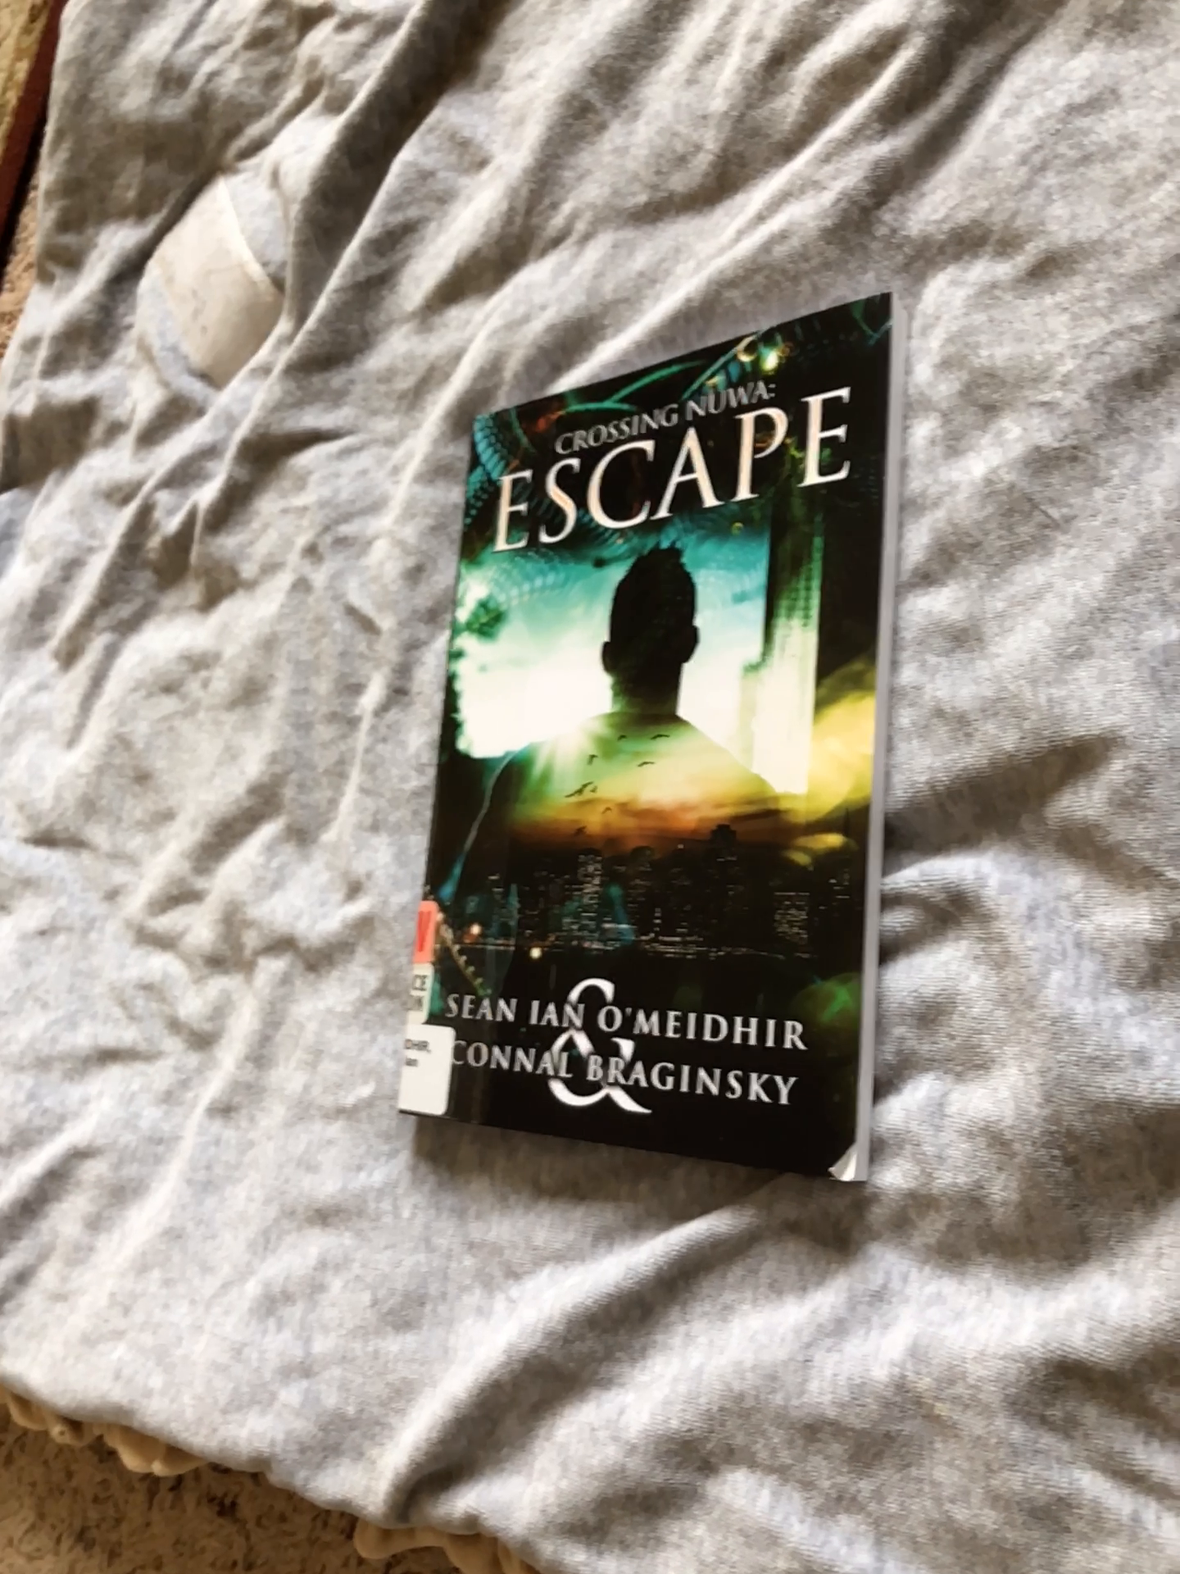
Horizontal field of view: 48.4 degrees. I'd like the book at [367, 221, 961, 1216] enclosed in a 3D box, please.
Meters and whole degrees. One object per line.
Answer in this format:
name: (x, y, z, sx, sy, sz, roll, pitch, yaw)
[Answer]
book: (0.018, -0.020, 0.382, 0.161, 0.030, 0.250, -1, 78, 38)
